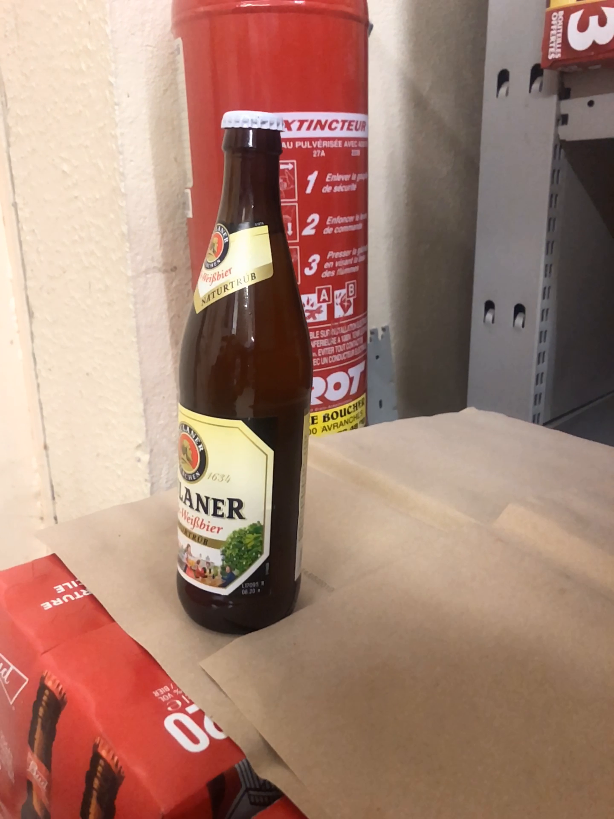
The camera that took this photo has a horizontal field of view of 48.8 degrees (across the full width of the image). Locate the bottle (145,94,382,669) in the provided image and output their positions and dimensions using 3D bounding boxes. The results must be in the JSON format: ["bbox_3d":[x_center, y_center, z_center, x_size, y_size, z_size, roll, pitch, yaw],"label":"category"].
[{"bbox_3d":[-0.022,-0.013,0.325,0.080,0.239,0.080,0,16,0],"label":"bottle"}]
